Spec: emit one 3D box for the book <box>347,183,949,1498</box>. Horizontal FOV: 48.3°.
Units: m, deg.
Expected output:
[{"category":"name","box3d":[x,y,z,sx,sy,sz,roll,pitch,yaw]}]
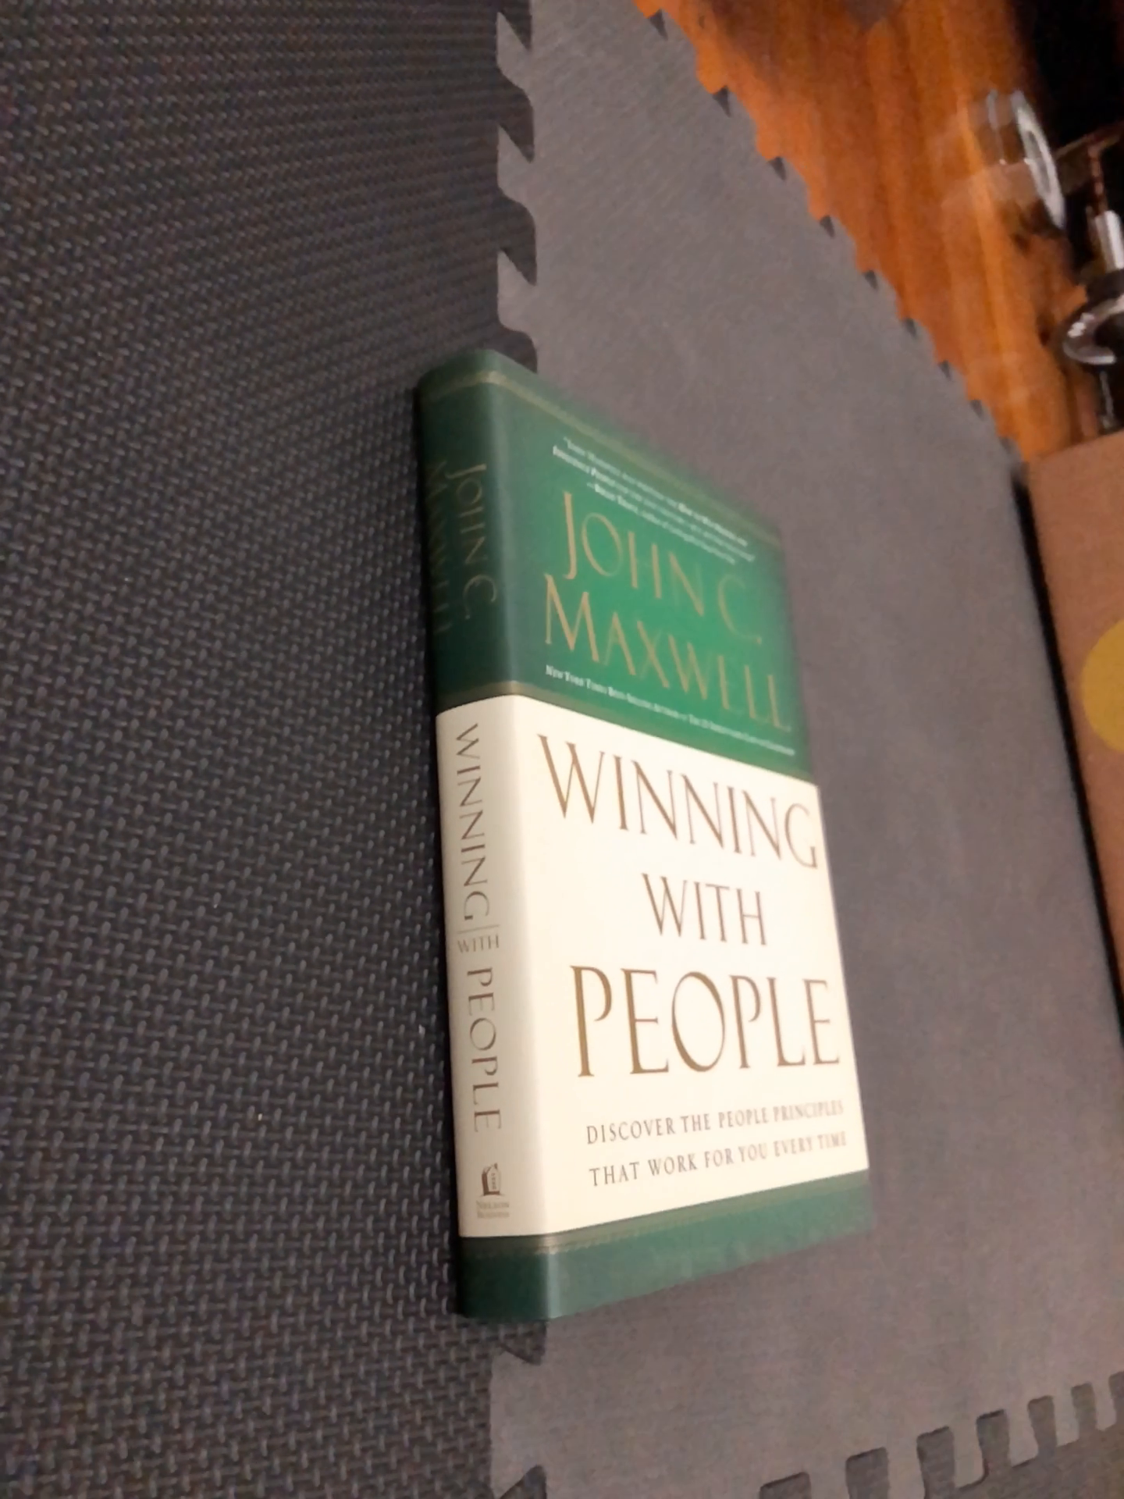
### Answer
[{"category":"book","box3d":[0.029,0.021,0.349,0.201,0.030,0.290,17,62,-49]}]
